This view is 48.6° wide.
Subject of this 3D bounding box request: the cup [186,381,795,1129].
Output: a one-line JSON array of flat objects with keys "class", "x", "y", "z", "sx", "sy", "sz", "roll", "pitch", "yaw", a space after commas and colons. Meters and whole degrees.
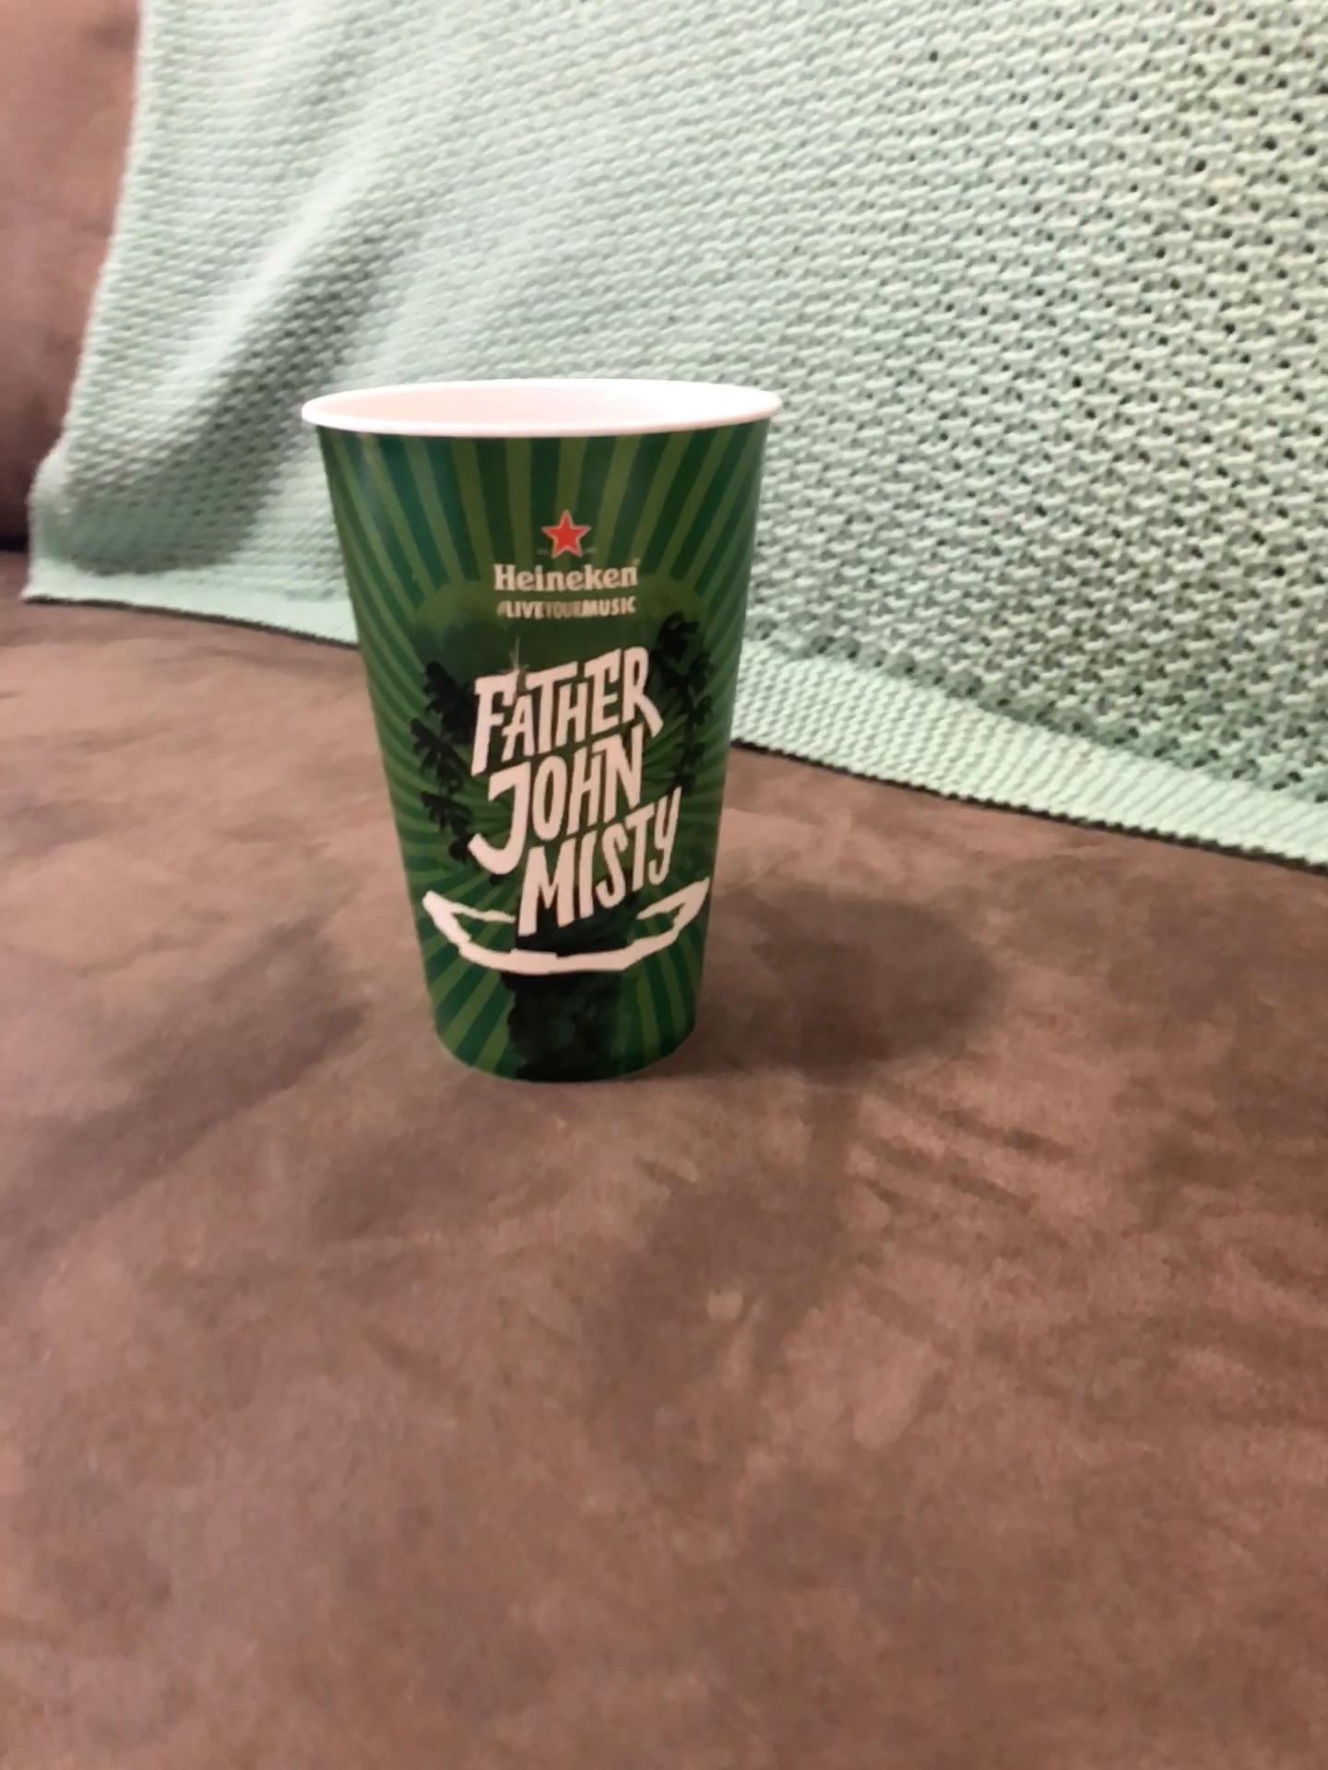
[{"class": "cup", "x": -0.026, "y": -0.034, "z": 0.309, "sx": 0.100, "sy": 0.129, "sz": 0.101, "roll": 0, "pitch": 22, "yaw": 0}]
